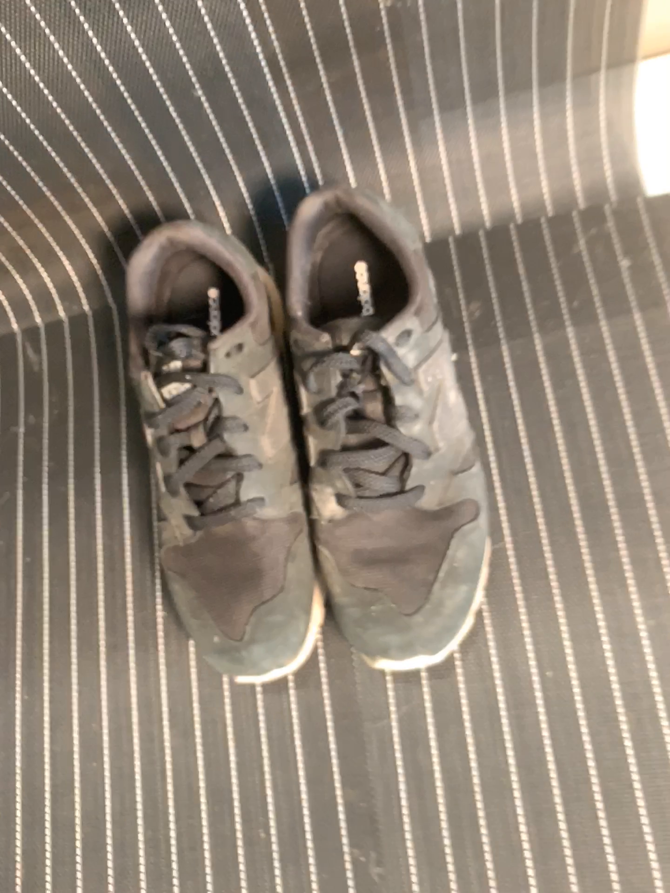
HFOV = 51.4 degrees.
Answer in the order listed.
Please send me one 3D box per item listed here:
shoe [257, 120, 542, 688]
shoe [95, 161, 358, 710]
[{"bbox_3d":[0.032,-0.025,0.405,0.110,0.090,0.300,-10,71,10],"label":"shoe"},{"bbox_3d":[-0.069,-0.009,0.424,0.110,0.090,0.300,-11,71,10],"label":"shoe"}]
